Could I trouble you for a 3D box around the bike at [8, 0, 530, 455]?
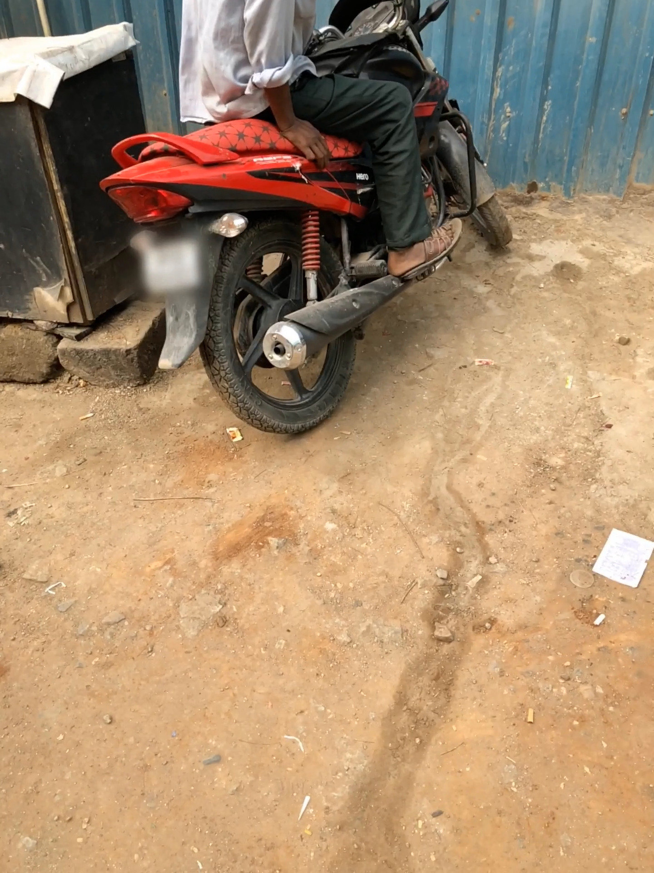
[{"bbox_3d":[-0.021,-1.047,2.270,0.734,1.129,1.641,16,44,23],"label":"bike"}]
